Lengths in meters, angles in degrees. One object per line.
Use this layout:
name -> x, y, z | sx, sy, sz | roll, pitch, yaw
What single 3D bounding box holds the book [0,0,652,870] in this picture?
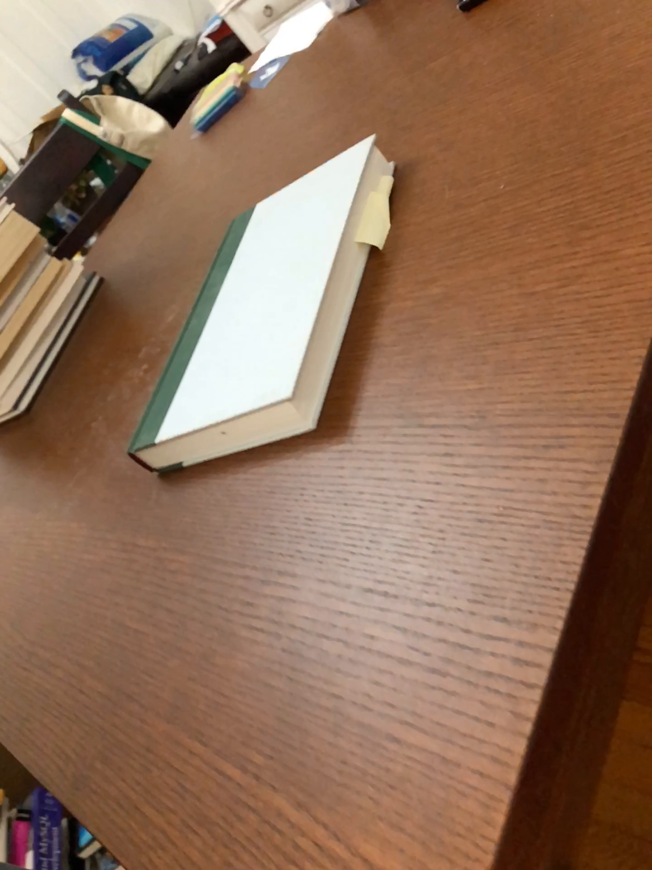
book -> -0.327, -0.070, 0.135 | 1.000, 0.995, 1.005 | -31, 38, 26
